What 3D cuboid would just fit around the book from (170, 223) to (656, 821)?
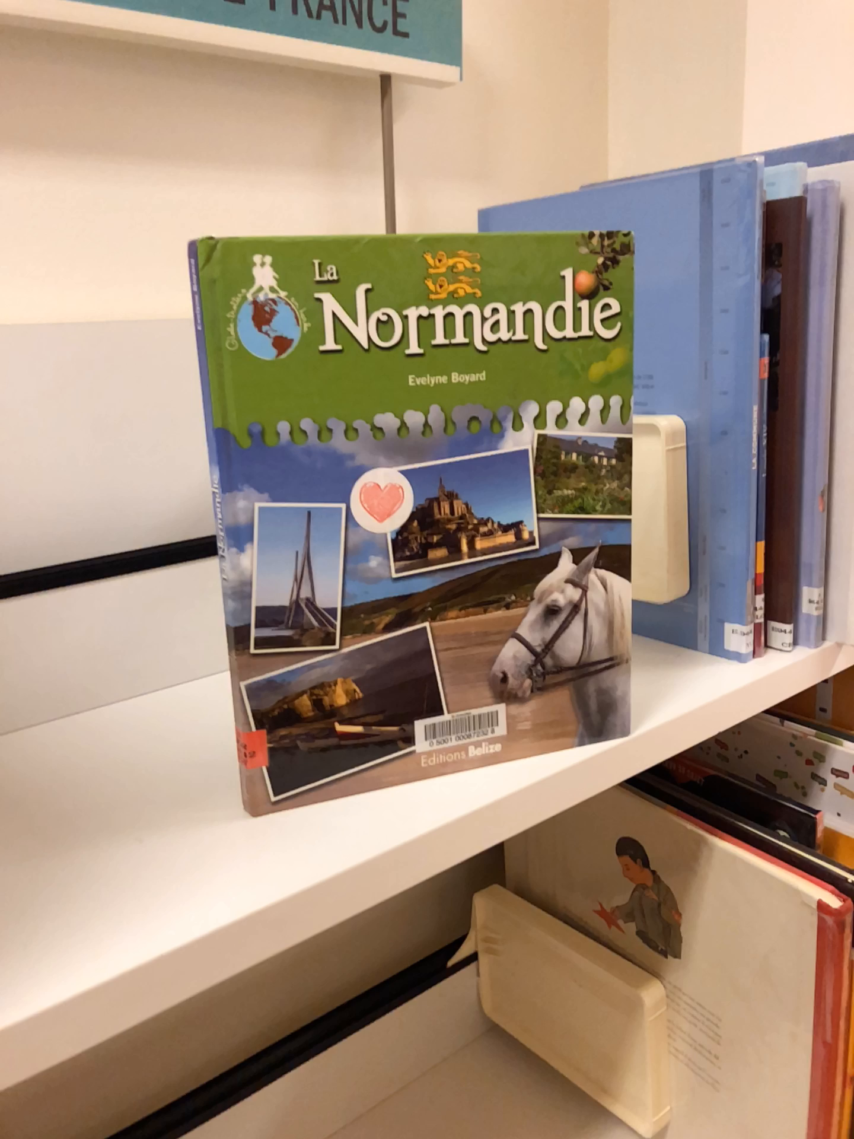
[{"bbox_3d":[-0.002,-0.029,0.454,0.208,0.249,0.077,-7,14,-15],"label":"book"}]
